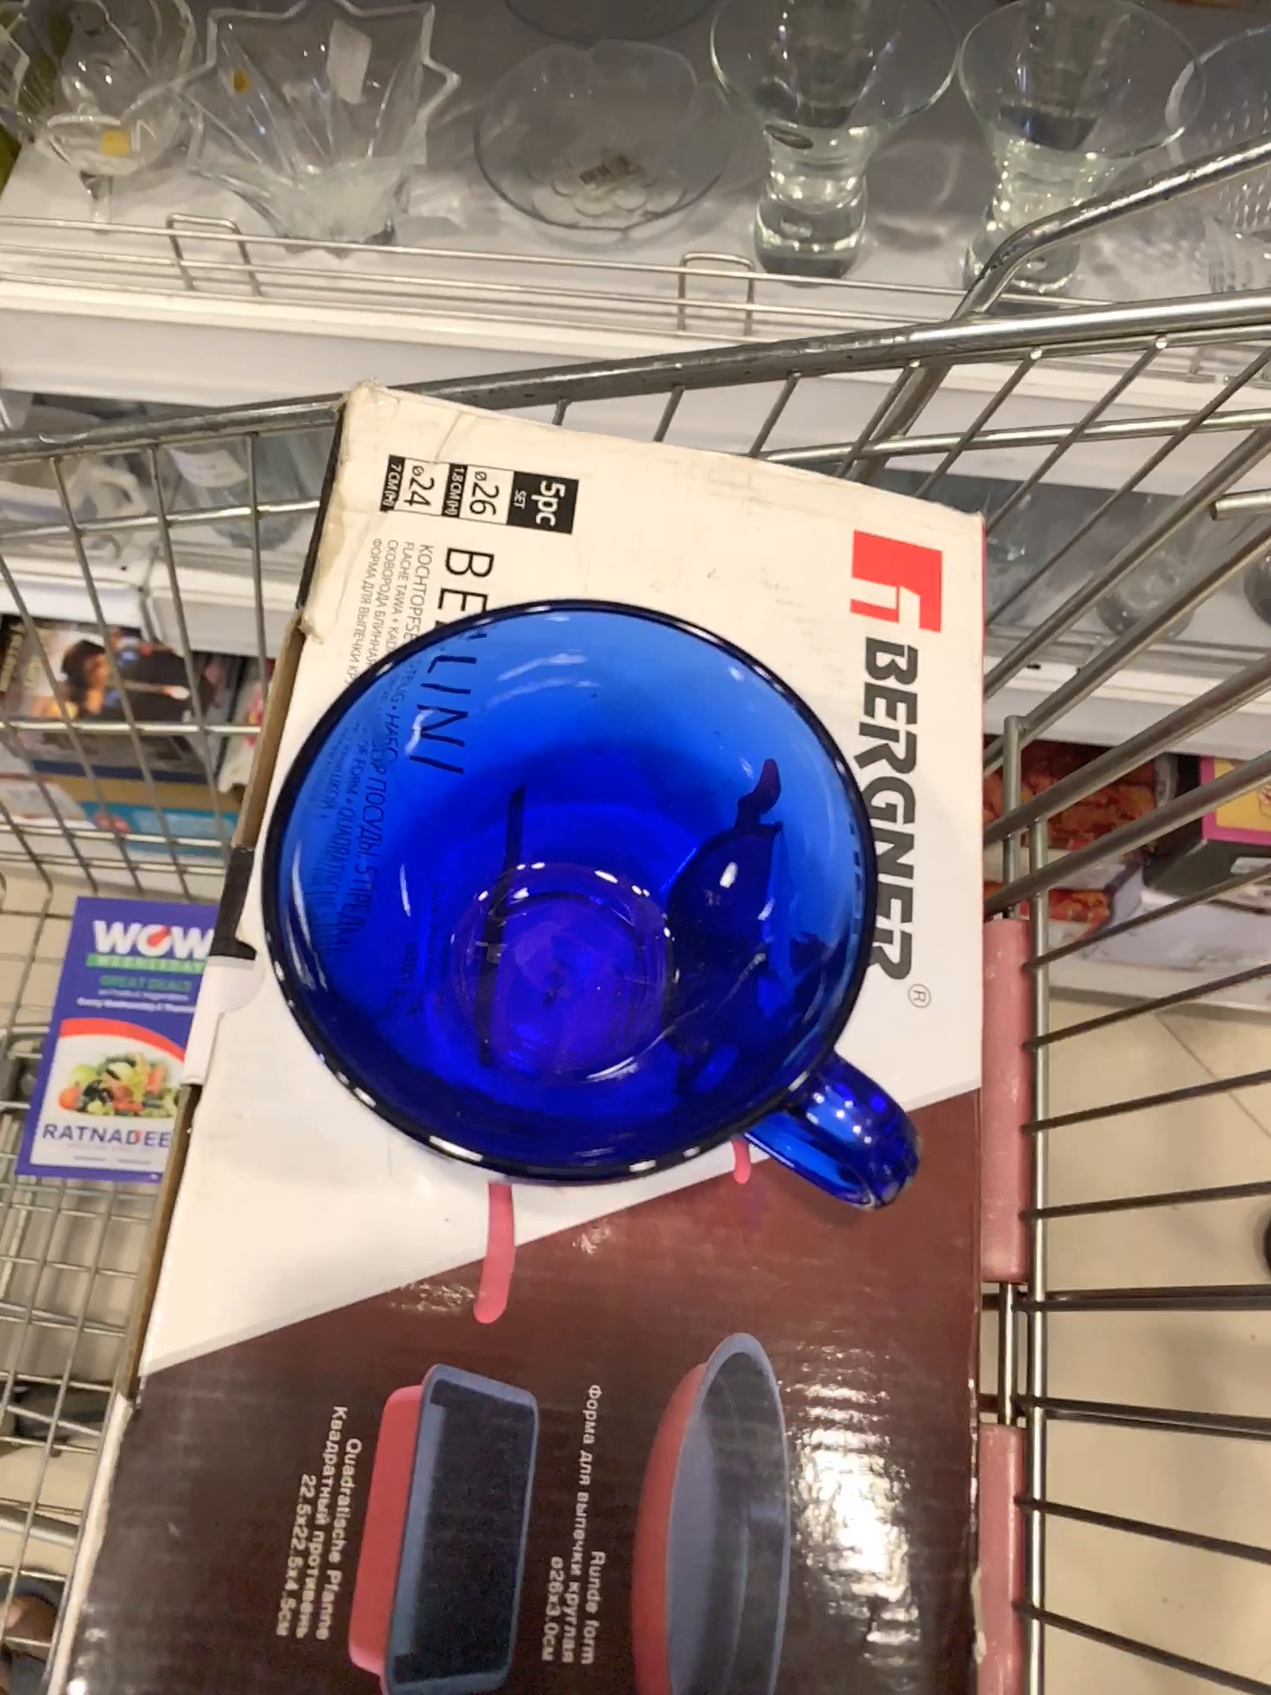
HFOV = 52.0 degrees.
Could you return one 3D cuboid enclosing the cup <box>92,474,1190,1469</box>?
[{"bbox_3d":[0.001,0.015,0.185,0.110,0.050,0.080,32,72,13],"label":"cup"}]
